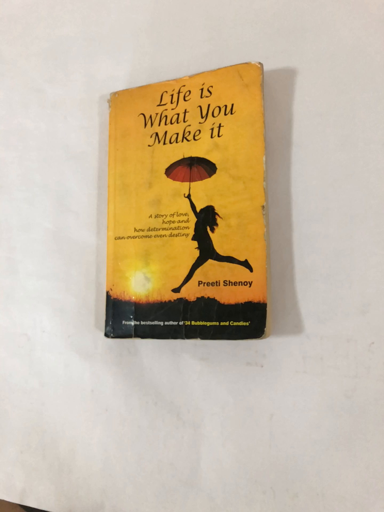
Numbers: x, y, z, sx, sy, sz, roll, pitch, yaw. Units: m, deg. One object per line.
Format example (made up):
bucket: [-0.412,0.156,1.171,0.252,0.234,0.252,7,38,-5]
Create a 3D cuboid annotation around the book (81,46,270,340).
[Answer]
book: [-0.016,-0.043,0.329,0.140,0.020,0.210,-3,82,18]
